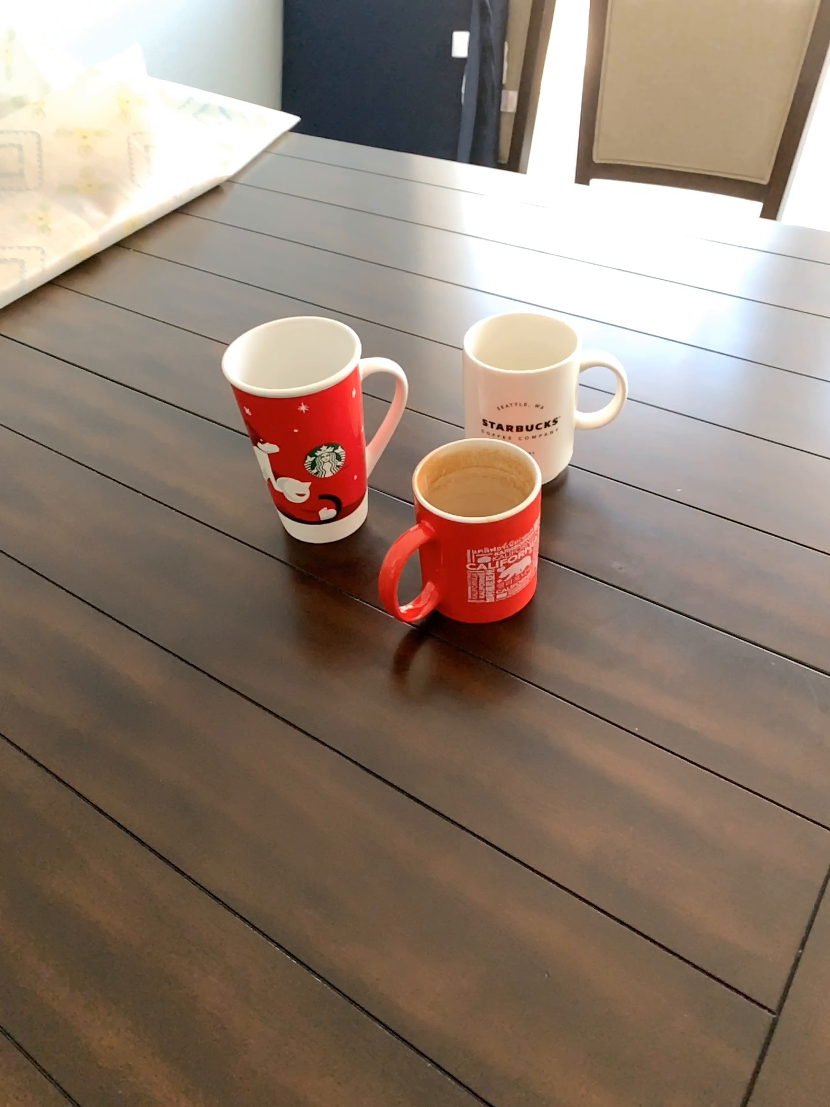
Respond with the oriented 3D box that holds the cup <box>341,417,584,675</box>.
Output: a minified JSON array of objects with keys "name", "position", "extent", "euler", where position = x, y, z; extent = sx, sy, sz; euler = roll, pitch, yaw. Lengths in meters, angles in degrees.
[{"name":"cup","position":[0.032,-0.008,0.555],"extent":[0.120,0.090,0.090],"euler":[-32,51,-23]}]

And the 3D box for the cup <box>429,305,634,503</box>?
[{"name":"cup","position":[0.086,-0.114,0.660],"extent":[0.140,0.109,0.100],"euler":[-1,46,6]}]

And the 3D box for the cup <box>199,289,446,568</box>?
[{"name":"cup","position":[-0.063,-0.089,0.613],"extent":[0.140,0.139,0.100],"euler":[-15,46,-8]}]
